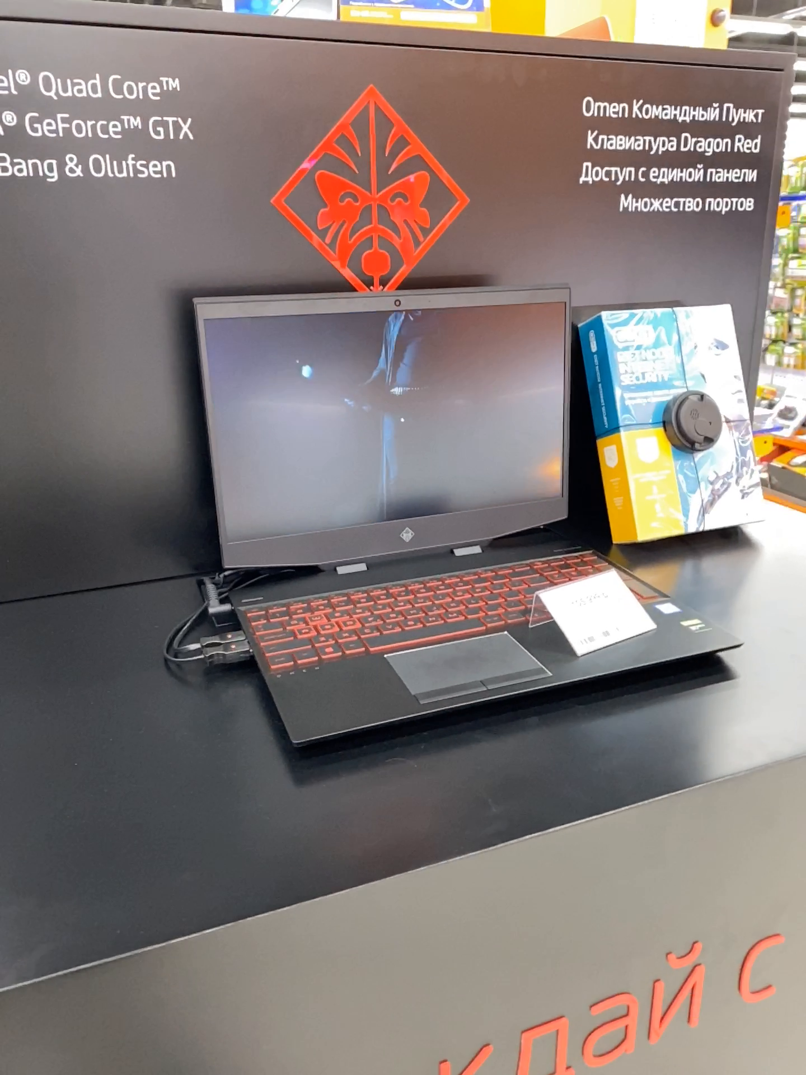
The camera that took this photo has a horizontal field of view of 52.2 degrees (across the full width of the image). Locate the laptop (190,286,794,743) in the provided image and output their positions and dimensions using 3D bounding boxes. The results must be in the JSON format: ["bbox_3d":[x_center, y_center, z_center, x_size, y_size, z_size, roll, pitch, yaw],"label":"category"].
[{"bbox_3d":[0.044,-0.061,0.669,0.358,0.247,0.303,-8,21,-20],"label":"laptop"}]
